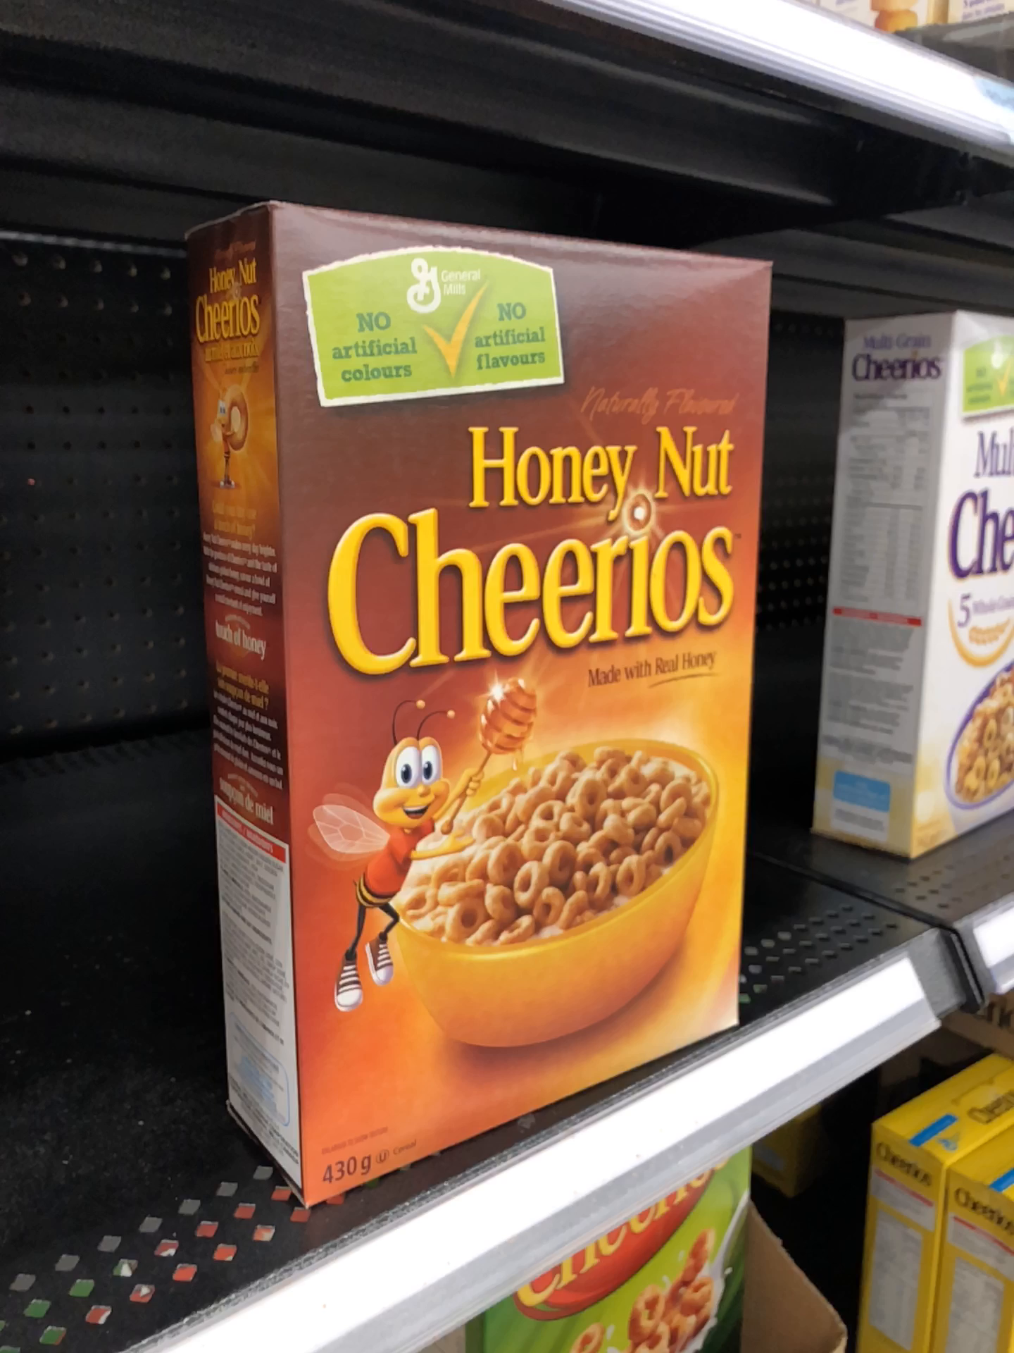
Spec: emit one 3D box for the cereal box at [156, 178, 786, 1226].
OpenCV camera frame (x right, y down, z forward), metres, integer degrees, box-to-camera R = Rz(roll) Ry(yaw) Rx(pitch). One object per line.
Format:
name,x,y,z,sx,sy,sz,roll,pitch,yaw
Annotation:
cereal box,-0.005,0.003,0.397,0.200,0.299,0.070,-8,15,-35
